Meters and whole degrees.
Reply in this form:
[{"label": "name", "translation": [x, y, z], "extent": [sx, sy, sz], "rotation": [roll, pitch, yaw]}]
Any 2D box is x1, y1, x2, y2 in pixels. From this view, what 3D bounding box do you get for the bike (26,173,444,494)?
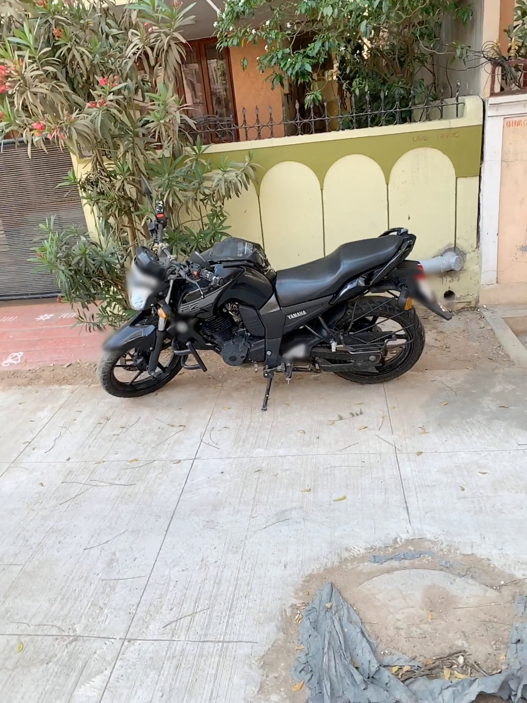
[{"label": "bike", "translation": [-0.043, -0.098, 2.638], "extent": [1.683, 1.076, 0.749], "rotation": [-8, 22, 8]}]
